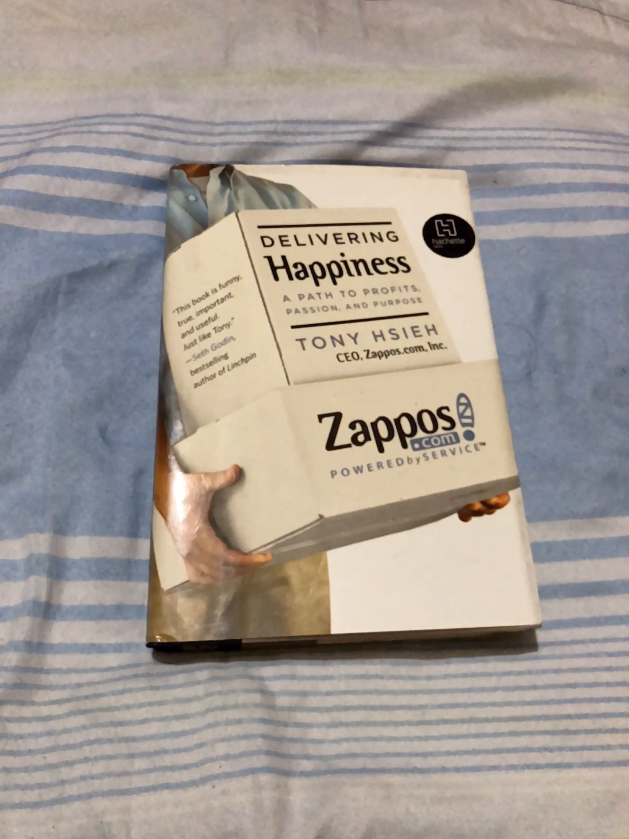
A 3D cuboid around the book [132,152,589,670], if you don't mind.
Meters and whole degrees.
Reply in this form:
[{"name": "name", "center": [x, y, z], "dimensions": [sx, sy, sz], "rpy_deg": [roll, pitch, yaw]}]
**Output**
[{"name": "book", "center": [0.012, -0.015, 0.332], "dimensions": [0.170, 0.050, 0.240], "rpy_deg": [-1, 66, -5]}]
